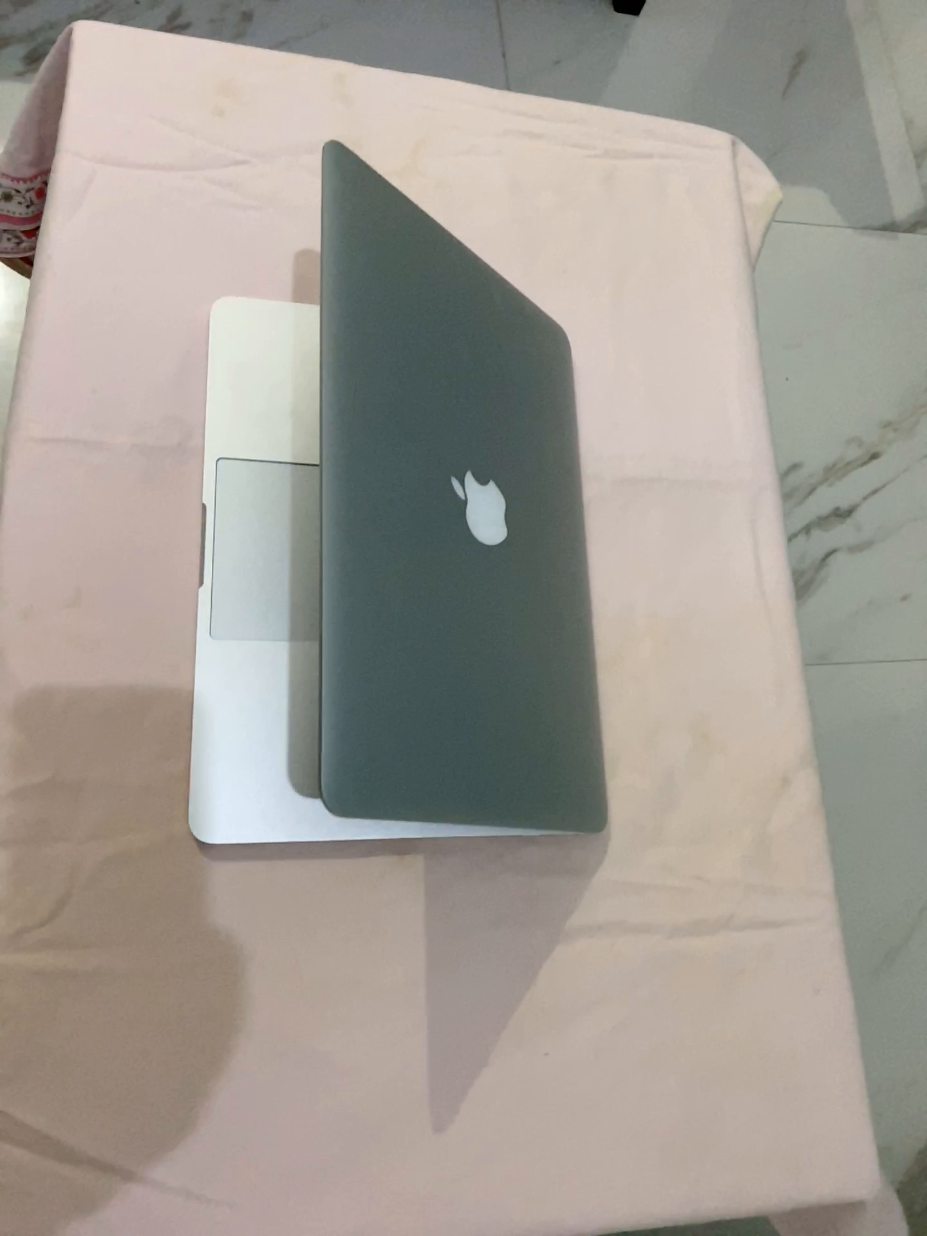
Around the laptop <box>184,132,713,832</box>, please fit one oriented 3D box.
[{"bbox_3d":[-0.023,-0.053,0.469,0.208,0.139,0.296,1,74,-13],"label":"laptop"}]
